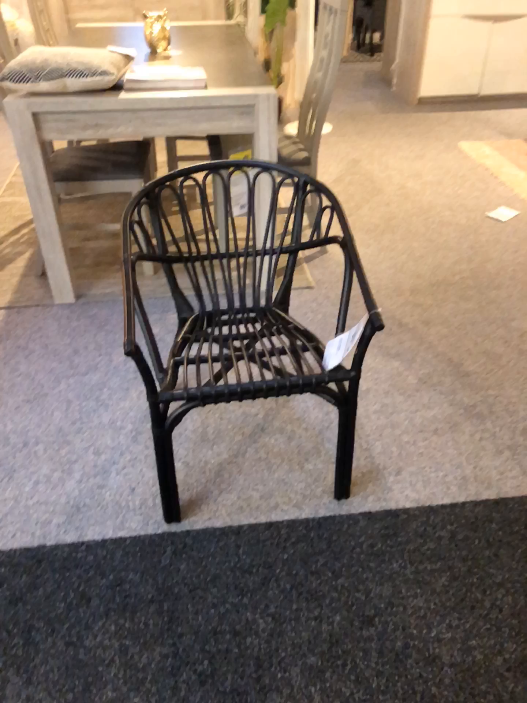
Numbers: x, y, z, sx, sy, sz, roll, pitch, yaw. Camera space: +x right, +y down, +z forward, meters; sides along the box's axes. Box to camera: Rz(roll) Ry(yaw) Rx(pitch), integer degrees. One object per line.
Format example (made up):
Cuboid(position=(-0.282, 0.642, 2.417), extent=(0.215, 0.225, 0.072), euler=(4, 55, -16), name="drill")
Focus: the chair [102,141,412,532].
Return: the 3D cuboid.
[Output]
Cuboid(position=(-0.036, -0.050, 1.420), extent=(0.530, 0.735, 0.563), euler=(-4, 36, -6), name="chair")
